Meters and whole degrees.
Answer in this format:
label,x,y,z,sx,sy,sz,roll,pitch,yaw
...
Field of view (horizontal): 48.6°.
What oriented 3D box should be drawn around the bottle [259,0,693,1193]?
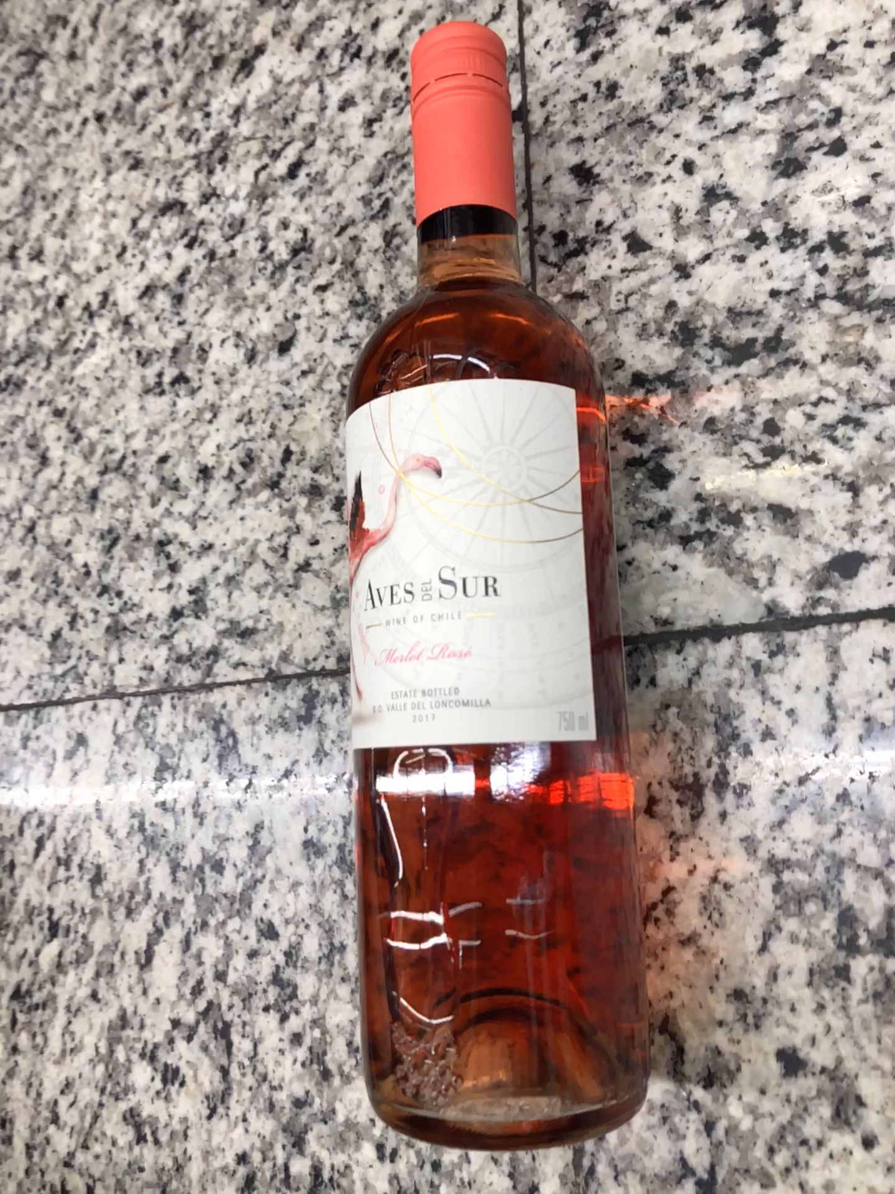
label,x,y,z,sx,sy,sz,roll,pitch,yaw
bottle,0.002,-0.025,0.298,0.090,0.070,0.340,-10,77,34
